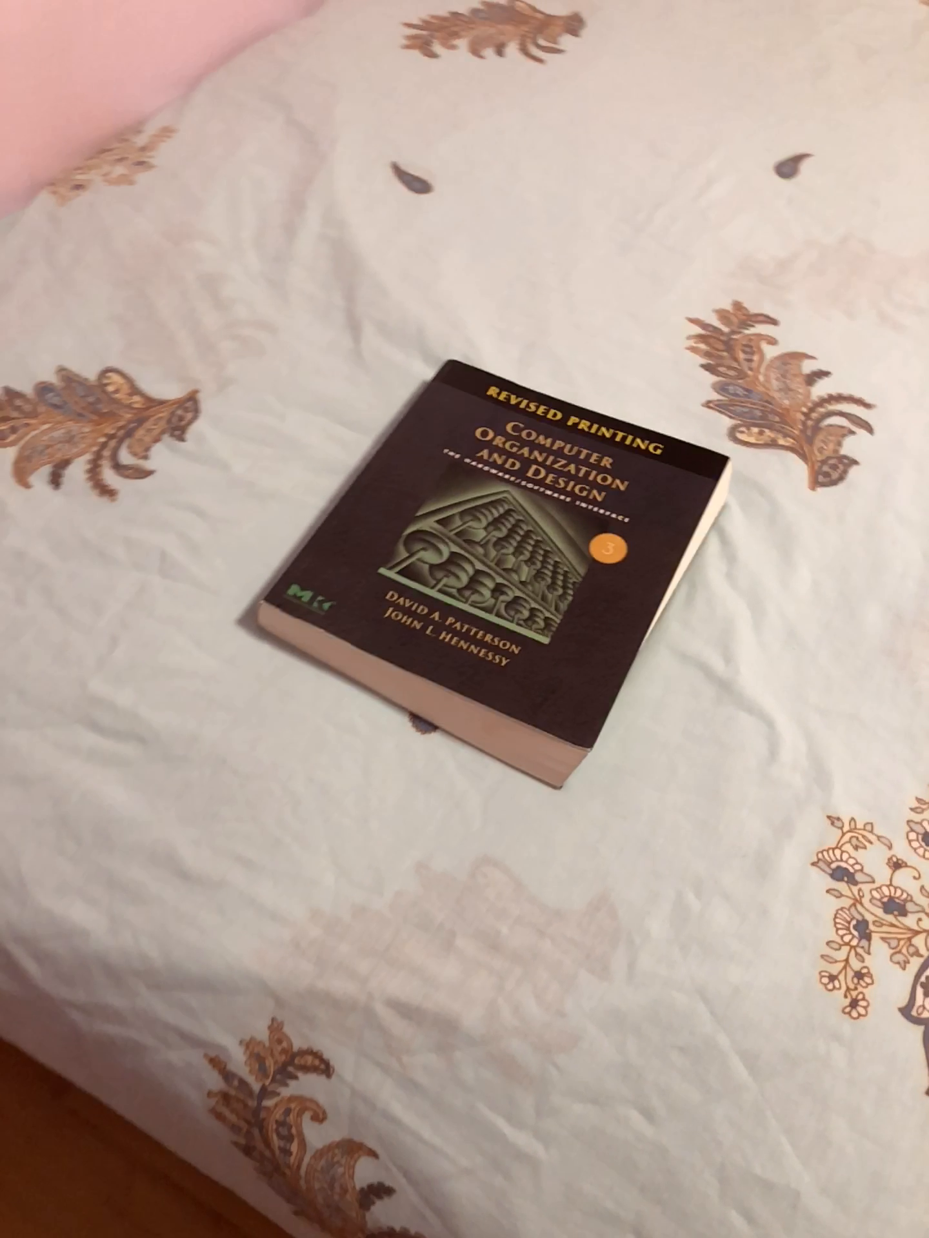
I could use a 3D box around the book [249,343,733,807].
[{"bbox_3d":[0.022,-0.038,0.621,0.201,0.073,0.226,24,59,12],"label":"book"}]
